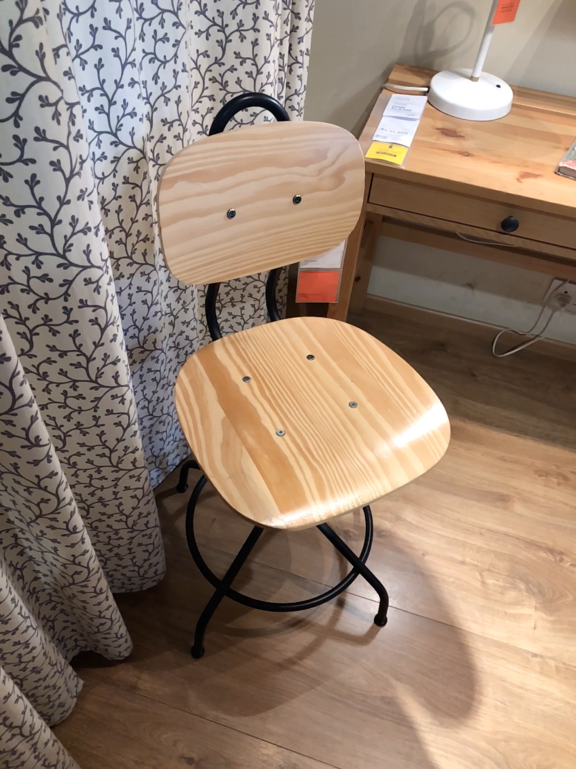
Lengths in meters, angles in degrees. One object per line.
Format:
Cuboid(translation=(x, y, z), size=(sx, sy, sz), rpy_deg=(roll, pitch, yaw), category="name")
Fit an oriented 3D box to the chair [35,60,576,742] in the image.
Cuboid(translation=(0.029, 0.055, 1.001), size=(0.521, 0.815, 0.552), rpy_deg=(-20, 53, -21), category="chair")
